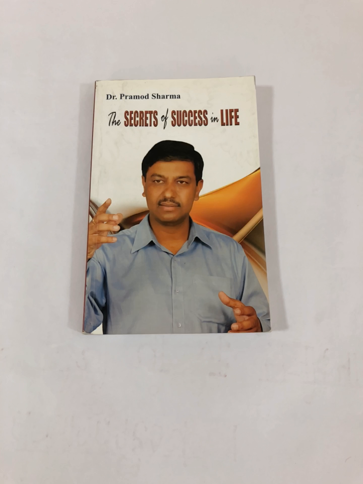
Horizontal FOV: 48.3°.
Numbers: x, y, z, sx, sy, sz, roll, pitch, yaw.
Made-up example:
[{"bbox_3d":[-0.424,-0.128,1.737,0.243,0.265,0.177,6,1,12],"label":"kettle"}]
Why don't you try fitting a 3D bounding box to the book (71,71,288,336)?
[{"bbox_3d":[-0.004,-0.036,0.317,0.150,0.020,0.210,-1,75,0],"label":"book"}]
